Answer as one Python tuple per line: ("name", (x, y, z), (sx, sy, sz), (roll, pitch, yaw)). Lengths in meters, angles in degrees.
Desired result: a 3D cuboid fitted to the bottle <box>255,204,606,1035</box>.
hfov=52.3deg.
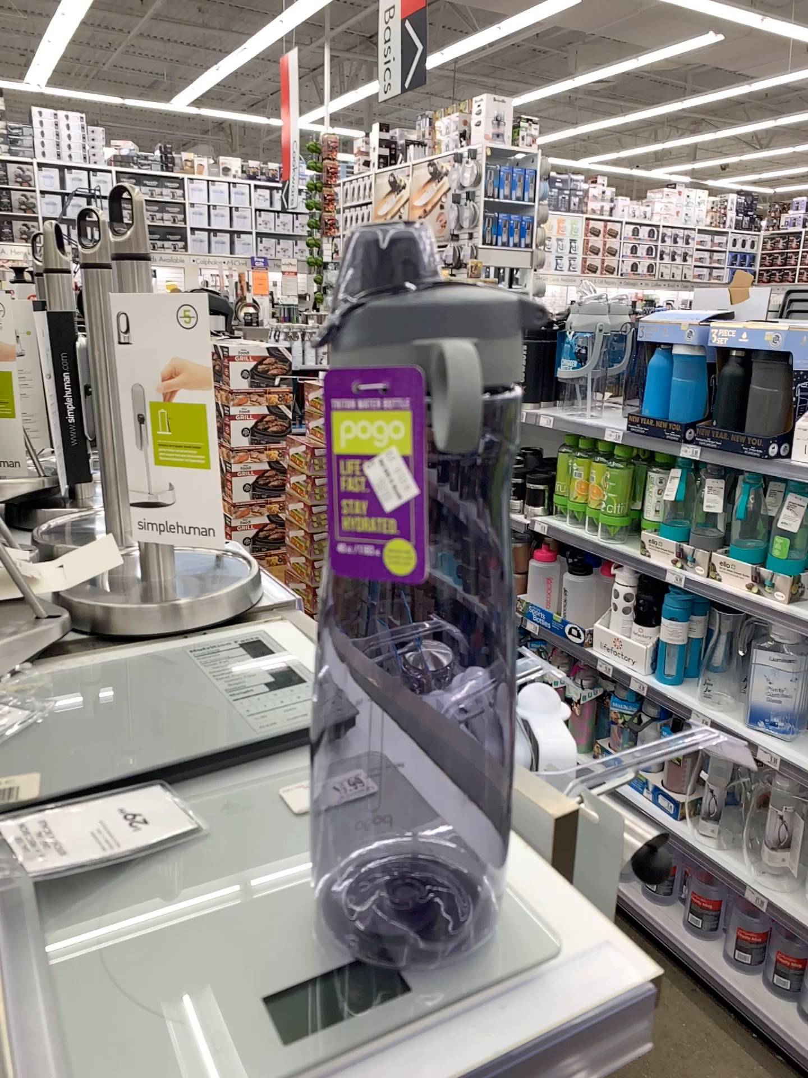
("bottle", (0.001, 0.031, 0.351), (0.100, 0.309, 0.100), (1, 15, 0))
